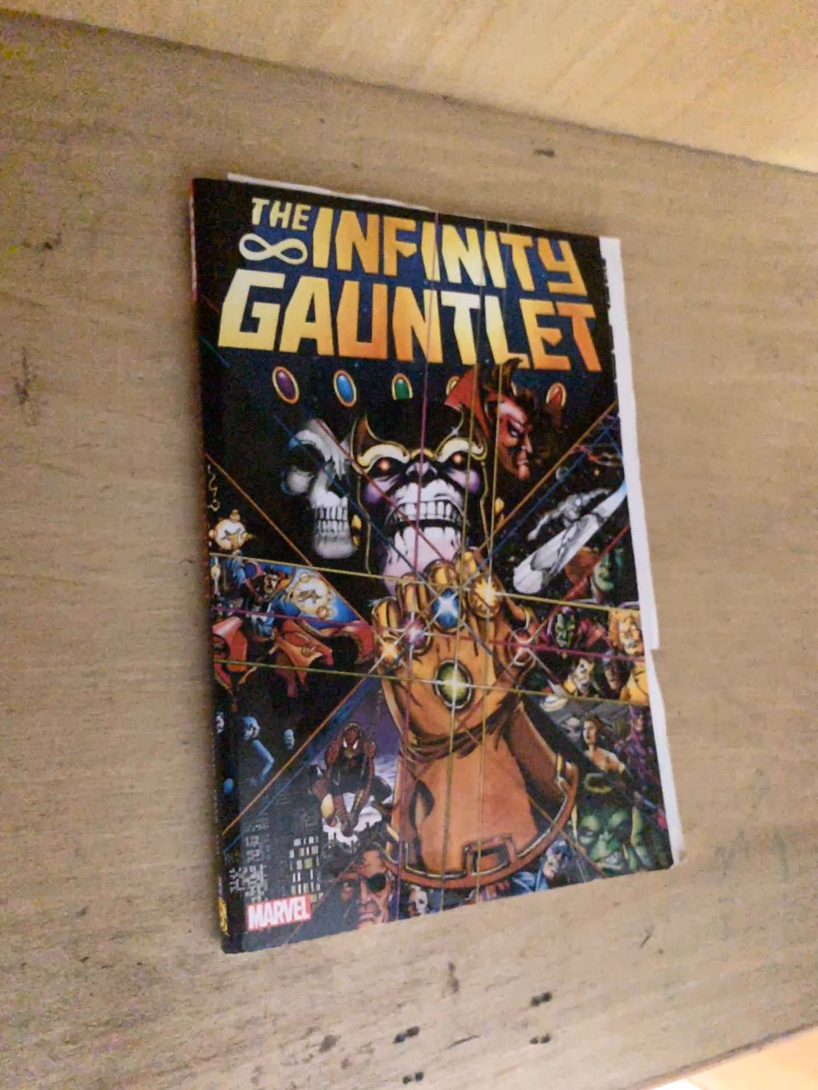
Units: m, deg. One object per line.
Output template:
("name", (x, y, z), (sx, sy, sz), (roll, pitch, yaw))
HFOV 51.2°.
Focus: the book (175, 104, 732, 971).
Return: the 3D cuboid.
("book", (0.019, -0.010, 0.313), (0.191, 0.030, 0.270), (-1, 83, -22))
